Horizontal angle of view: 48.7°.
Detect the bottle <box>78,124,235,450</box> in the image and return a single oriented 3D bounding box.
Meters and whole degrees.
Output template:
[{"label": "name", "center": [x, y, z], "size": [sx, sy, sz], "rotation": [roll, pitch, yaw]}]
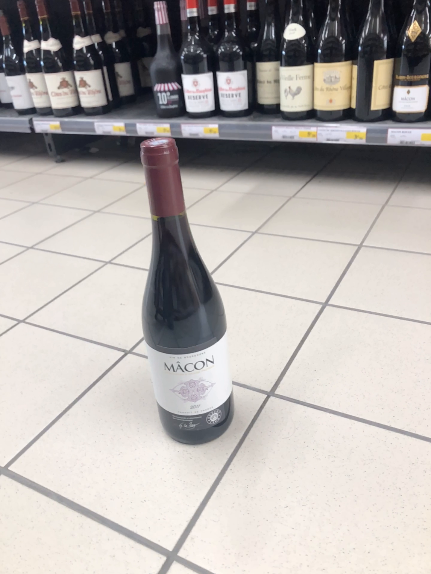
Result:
[{"label": "bottle", "center": [-0.038, 0.011, 0.440], "size": [0.090, 0.288, 0.091], "rotation": [-5, 28, 2]}]
